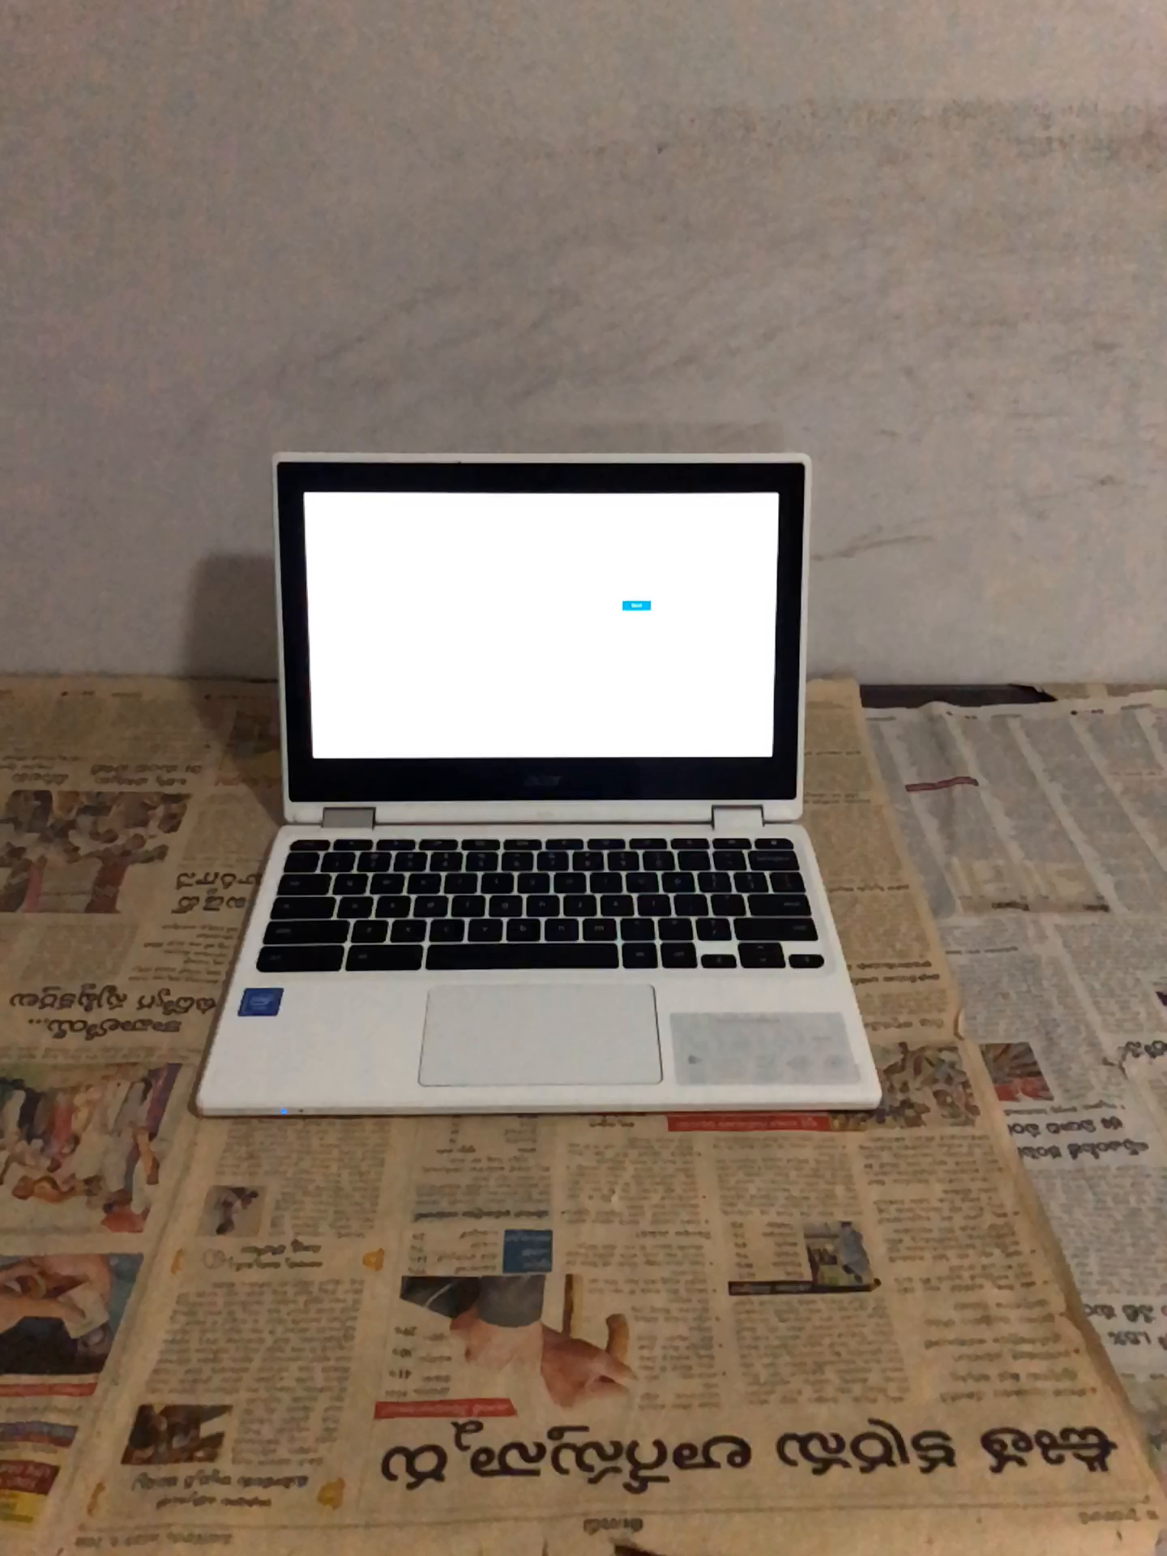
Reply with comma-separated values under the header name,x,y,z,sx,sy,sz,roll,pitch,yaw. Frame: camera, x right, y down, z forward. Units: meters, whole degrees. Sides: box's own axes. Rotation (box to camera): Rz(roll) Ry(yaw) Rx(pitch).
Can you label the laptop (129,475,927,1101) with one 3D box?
name,x,y,z,sx,sy,sz,roll,pitch,yaw
laptop,-0.021,-0.014,0.594,0.268,0.167,0.279,0,32,-1
